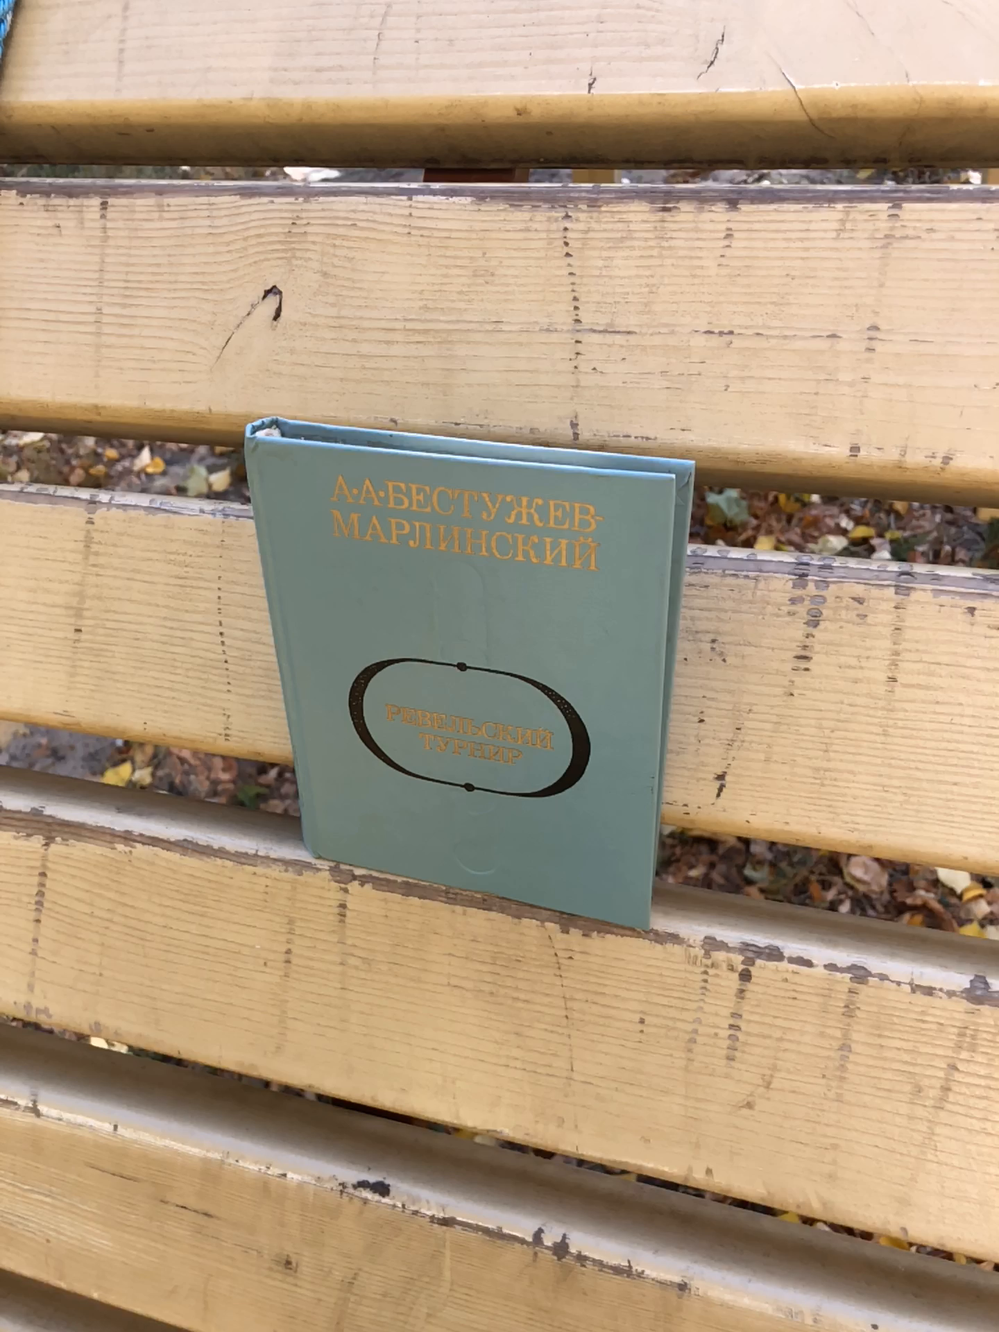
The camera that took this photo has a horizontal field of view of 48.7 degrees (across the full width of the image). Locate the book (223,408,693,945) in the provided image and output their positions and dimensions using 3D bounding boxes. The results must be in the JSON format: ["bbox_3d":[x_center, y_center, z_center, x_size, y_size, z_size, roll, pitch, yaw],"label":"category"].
[{"bbox_3d":[-0.011,0.006,0.365,0.140,0.169,0.022,10,34,21],"label":"book"}]
